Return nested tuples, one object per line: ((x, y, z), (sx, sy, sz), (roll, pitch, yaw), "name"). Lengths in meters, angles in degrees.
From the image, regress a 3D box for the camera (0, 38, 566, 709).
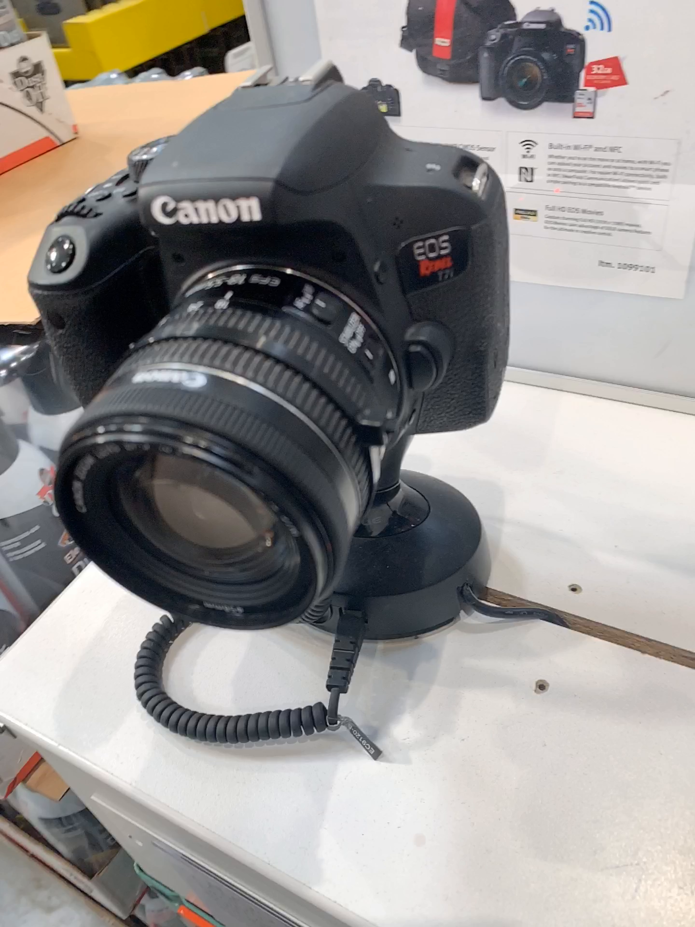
((-0.024, -0.032, 0.175), (0.134, 0.089, 0.121), (6, 44, 19), "camera")
